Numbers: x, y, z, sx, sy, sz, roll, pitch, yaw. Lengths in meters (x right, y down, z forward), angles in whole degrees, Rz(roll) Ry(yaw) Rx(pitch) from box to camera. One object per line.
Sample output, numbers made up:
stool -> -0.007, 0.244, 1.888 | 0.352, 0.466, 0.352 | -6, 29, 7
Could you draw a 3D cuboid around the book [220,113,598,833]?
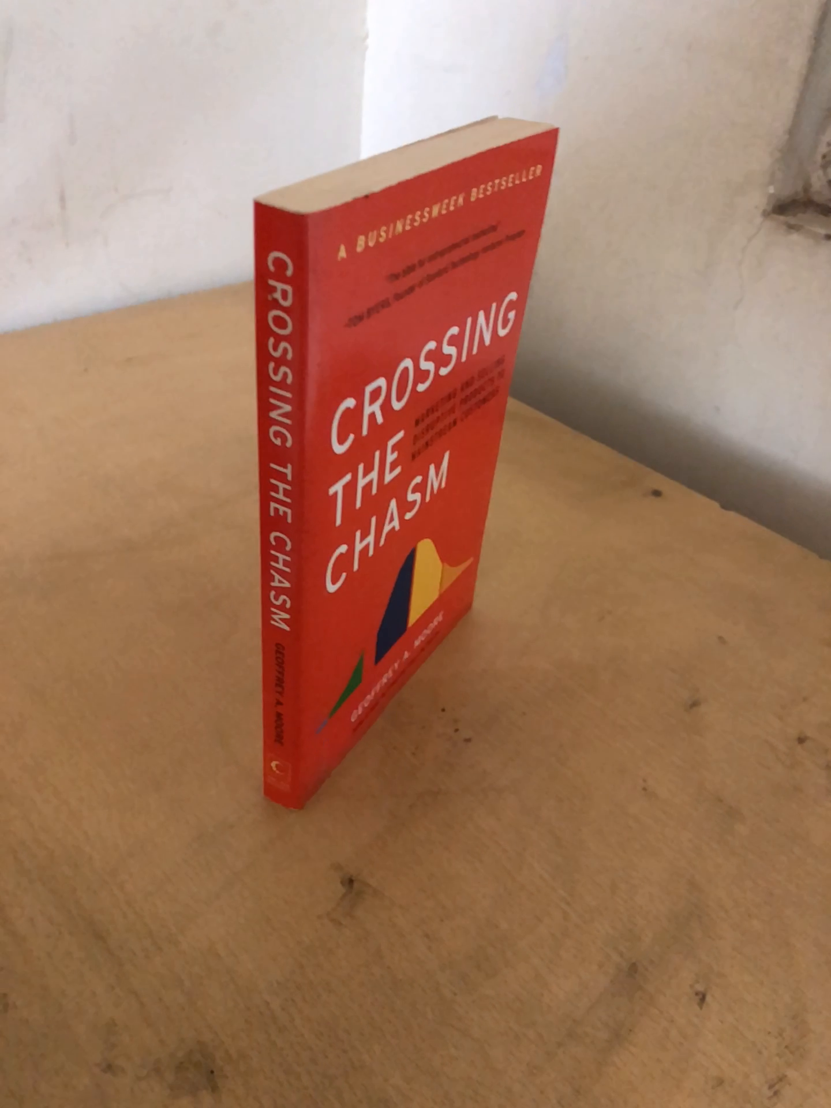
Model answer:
book -> 0.001, -0.030, 0.317 | 0.030, 0.199, 0.161 | 22, 38, 21
